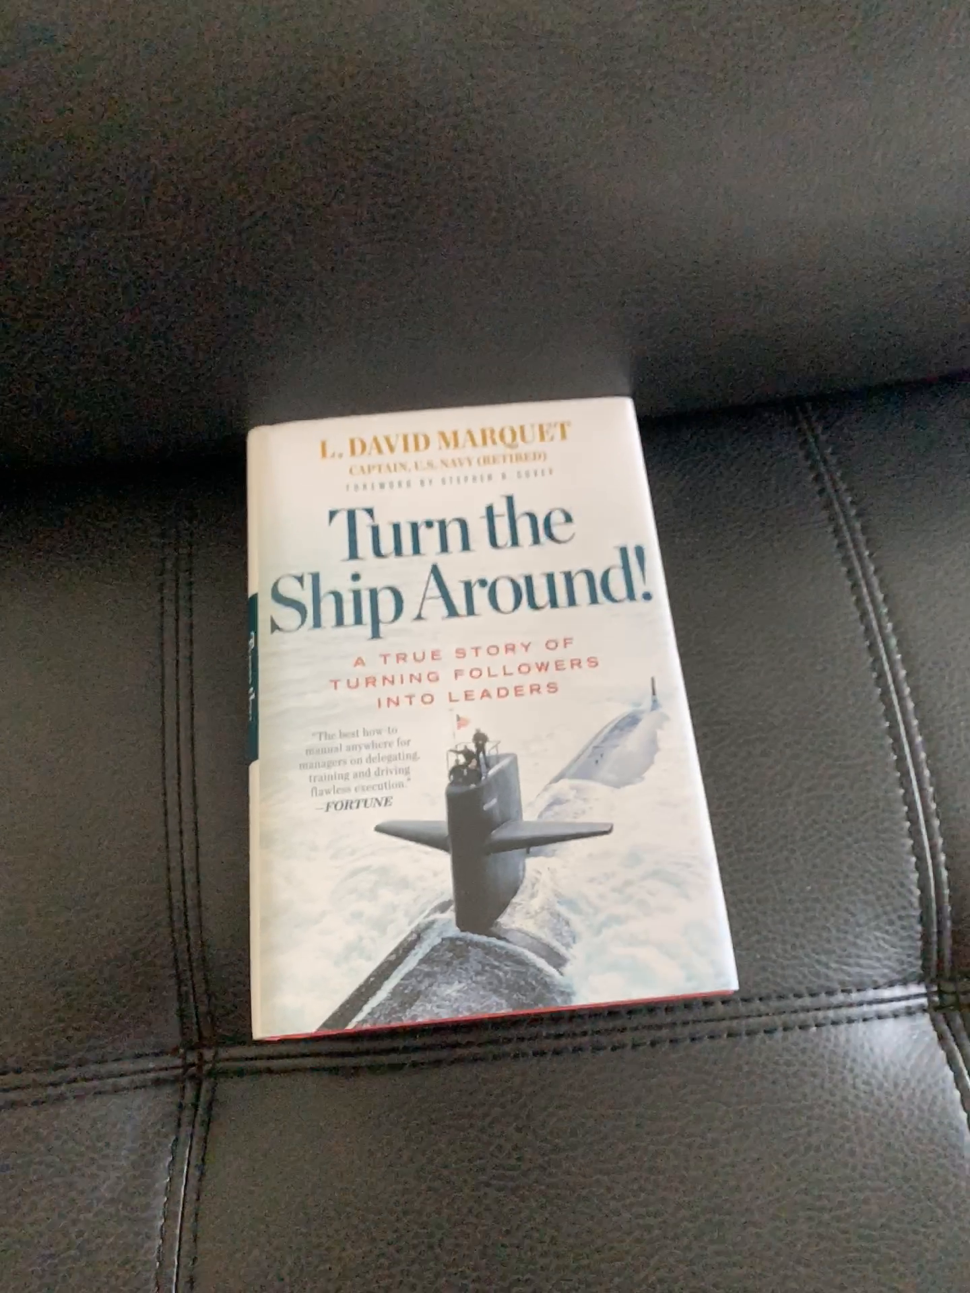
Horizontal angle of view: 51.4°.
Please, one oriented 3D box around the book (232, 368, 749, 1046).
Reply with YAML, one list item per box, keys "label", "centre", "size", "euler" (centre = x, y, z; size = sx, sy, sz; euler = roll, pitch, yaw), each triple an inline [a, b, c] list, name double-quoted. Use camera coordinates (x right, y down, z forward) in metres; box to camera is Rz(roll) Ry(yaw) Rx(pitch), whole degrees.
- label: "book"
  centre: [-0.009, 0.010, 0.351]
  size: [0.152, 0.029, 0.226]
  euler: [-5, 67, -2]
